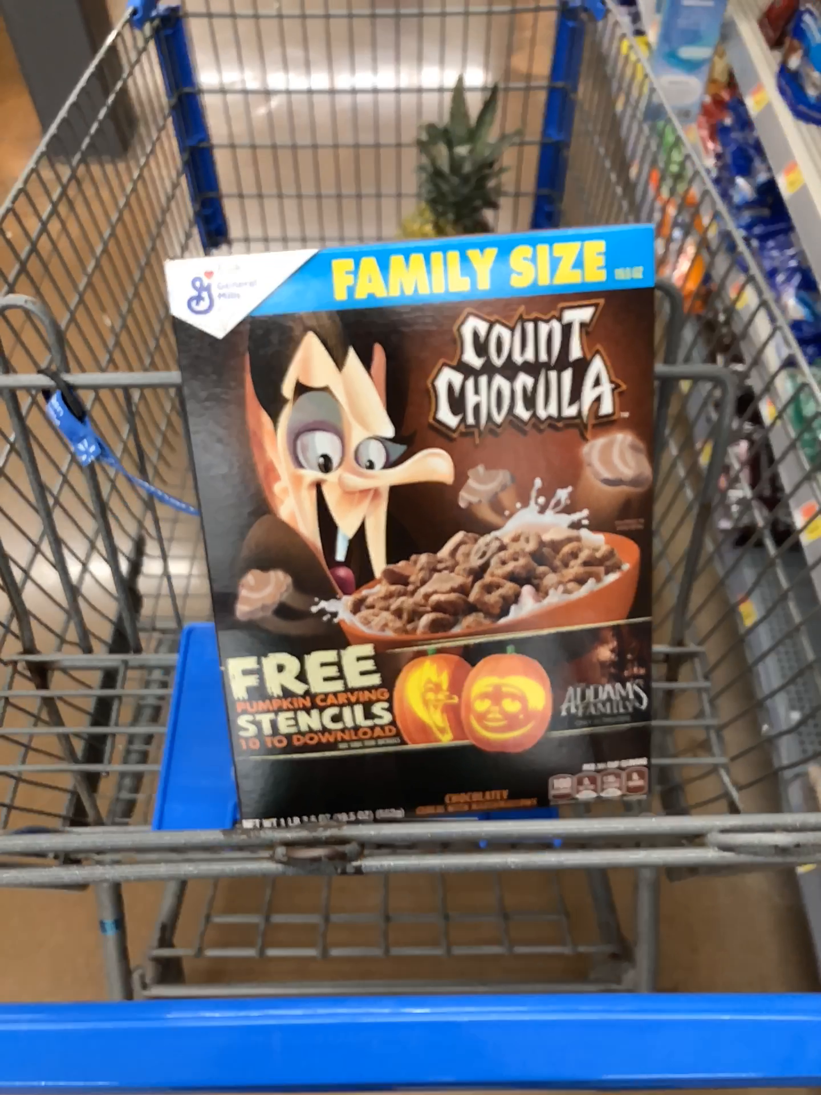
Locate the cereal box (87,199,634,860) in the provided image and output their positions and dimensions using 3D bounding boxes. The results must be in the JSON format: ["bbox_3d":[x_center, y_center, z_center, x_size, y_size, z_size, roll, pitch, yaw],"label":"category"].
[{"bbox_3d":[-0.013,-0.006,0.516,0.250,0.330,0.080,-7,18,-4],"label":"cereal box"}]
